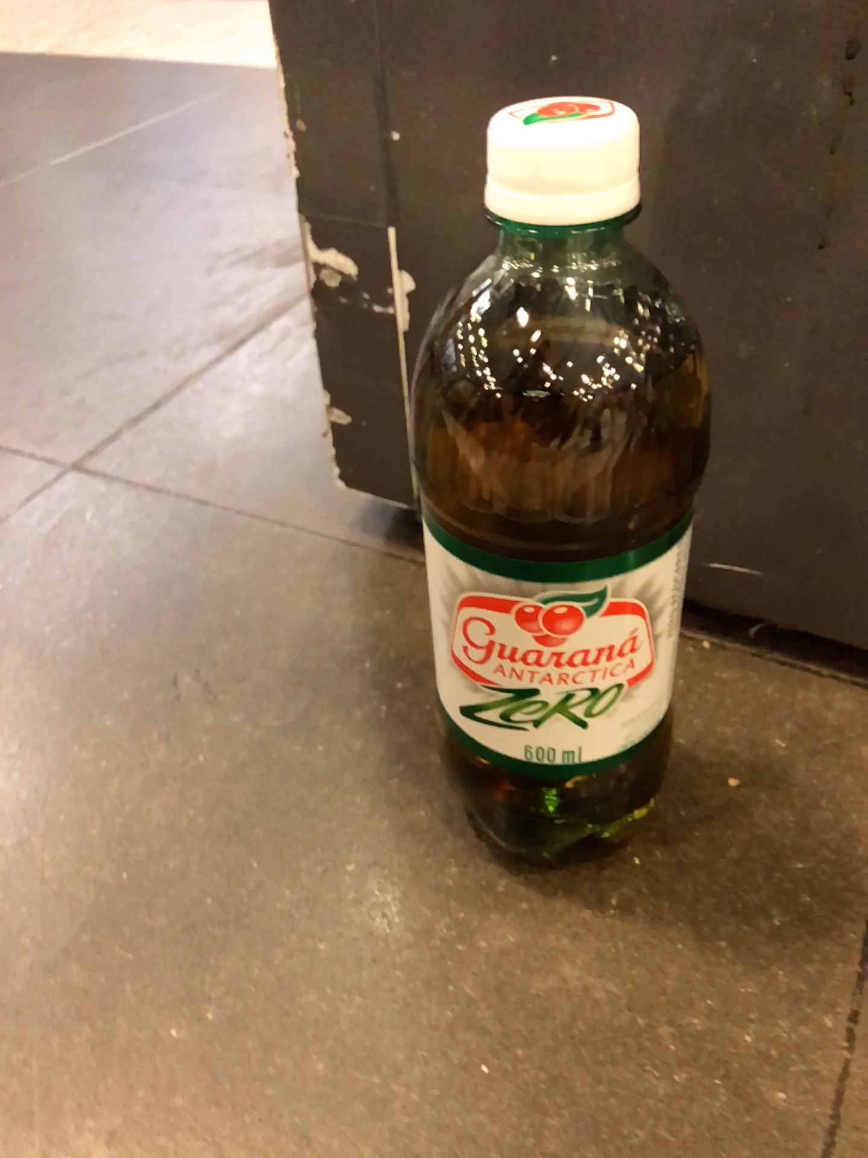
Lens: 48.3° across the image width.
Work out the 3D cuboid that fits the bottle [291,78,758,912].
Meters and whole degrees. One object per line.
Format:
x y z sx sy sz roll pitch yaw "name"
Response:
0.027 -0.010 0.257 0.080 0.208 0.071 8 40 14 "bottle"
